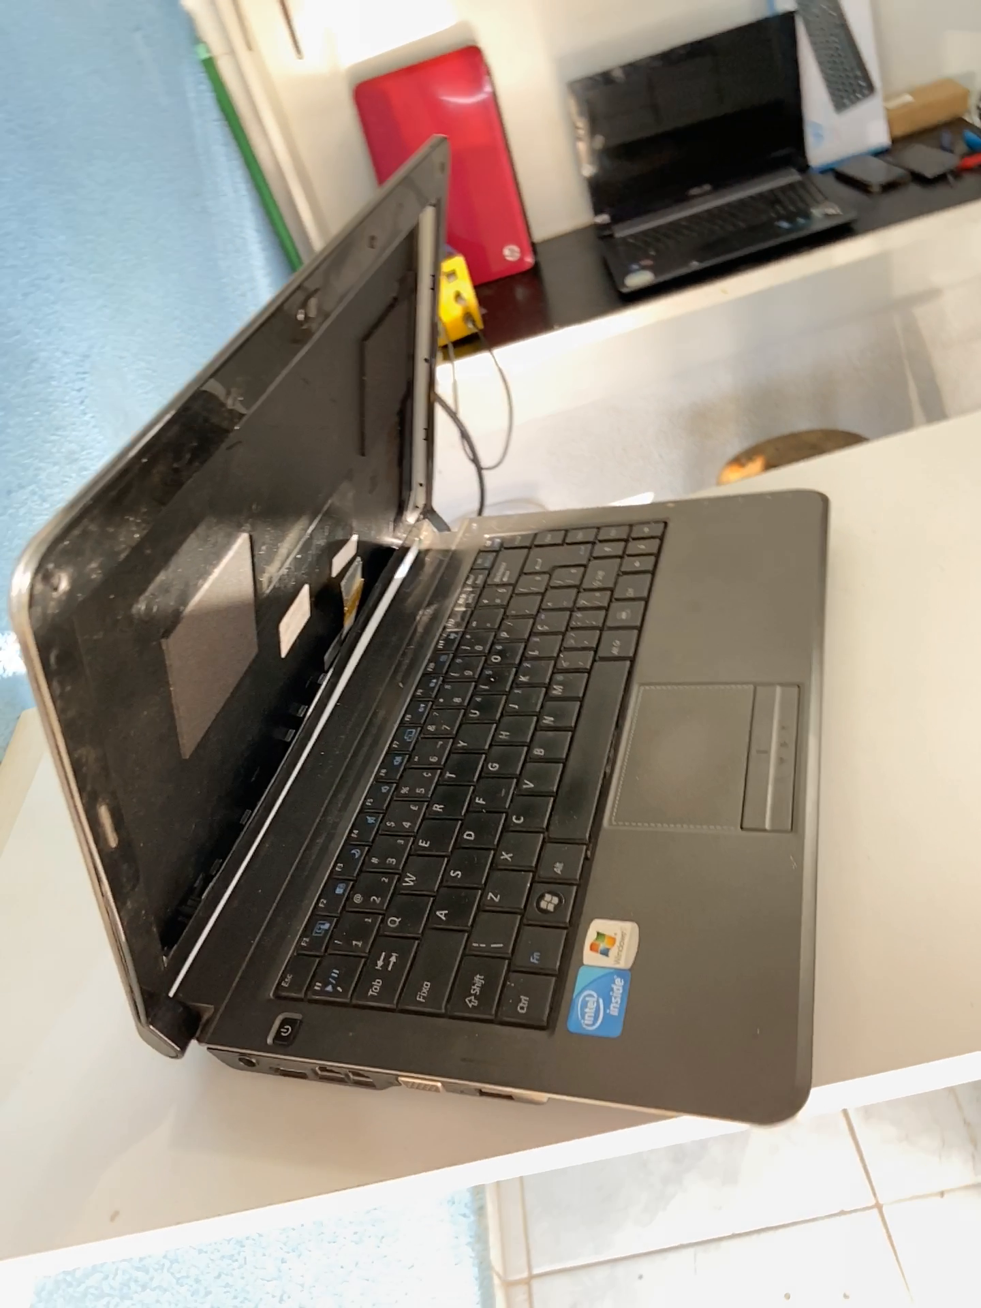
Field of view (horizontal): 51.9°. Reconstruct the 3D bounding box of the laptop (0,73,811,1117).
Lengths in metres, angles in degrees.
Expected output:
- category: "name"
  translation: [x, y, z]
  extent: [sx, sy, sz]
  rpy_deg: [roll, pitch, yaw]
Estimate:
- category: "laptop"
  translation: [0.001, -0.047, 0.394]
  extent: [0.206, 0.206, 0.332]
  rpy_deg: [-3, 40, 23]
